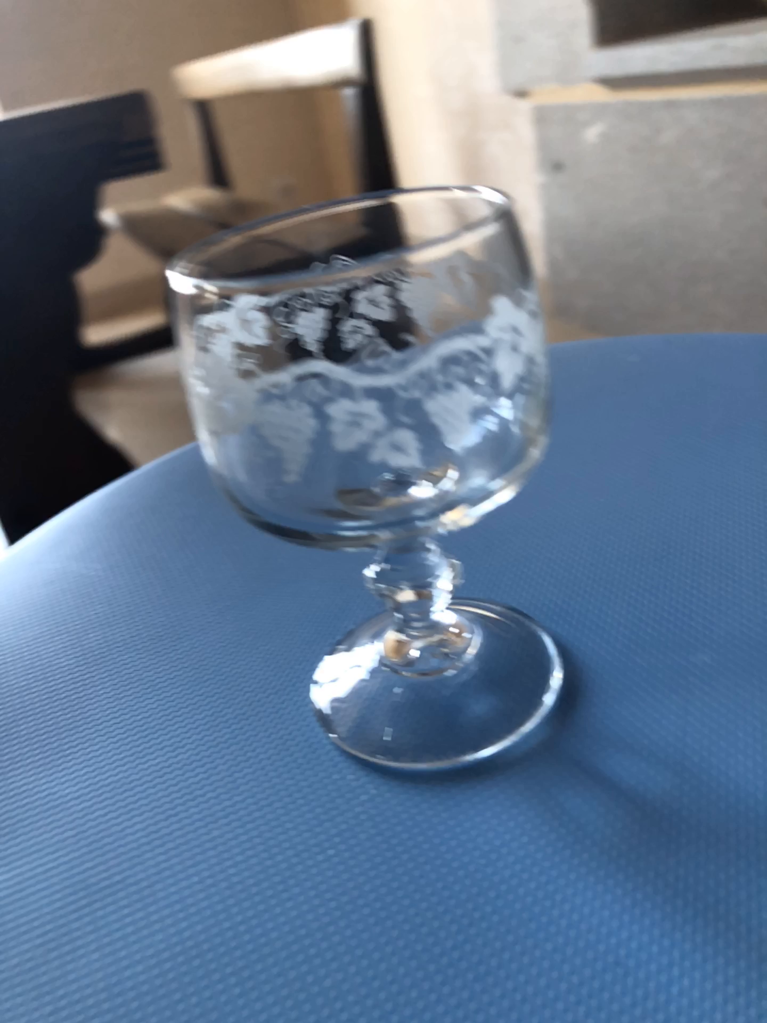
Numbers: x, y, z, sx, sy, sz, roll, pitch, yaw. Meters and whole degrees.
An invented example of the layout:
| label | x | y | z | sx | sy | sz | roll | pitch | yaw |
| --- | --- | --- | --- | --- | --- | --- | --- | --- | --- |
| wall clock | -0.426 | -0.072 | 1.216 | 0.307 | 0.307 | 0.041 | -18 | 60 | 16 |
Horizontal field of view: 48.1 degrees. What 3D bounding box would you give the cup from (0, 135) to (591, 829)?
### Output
| label | x | y | z | sx | sy | sz | roll | pitch | yaw |
| --- | --- | --- | --- | --- | --- | --- | --- | --- | --- |
| cup | -0.004 | -0.006 | 0.132 | 0.060 | 0.080 | 0.060 | -10 | 28 | 5 |
